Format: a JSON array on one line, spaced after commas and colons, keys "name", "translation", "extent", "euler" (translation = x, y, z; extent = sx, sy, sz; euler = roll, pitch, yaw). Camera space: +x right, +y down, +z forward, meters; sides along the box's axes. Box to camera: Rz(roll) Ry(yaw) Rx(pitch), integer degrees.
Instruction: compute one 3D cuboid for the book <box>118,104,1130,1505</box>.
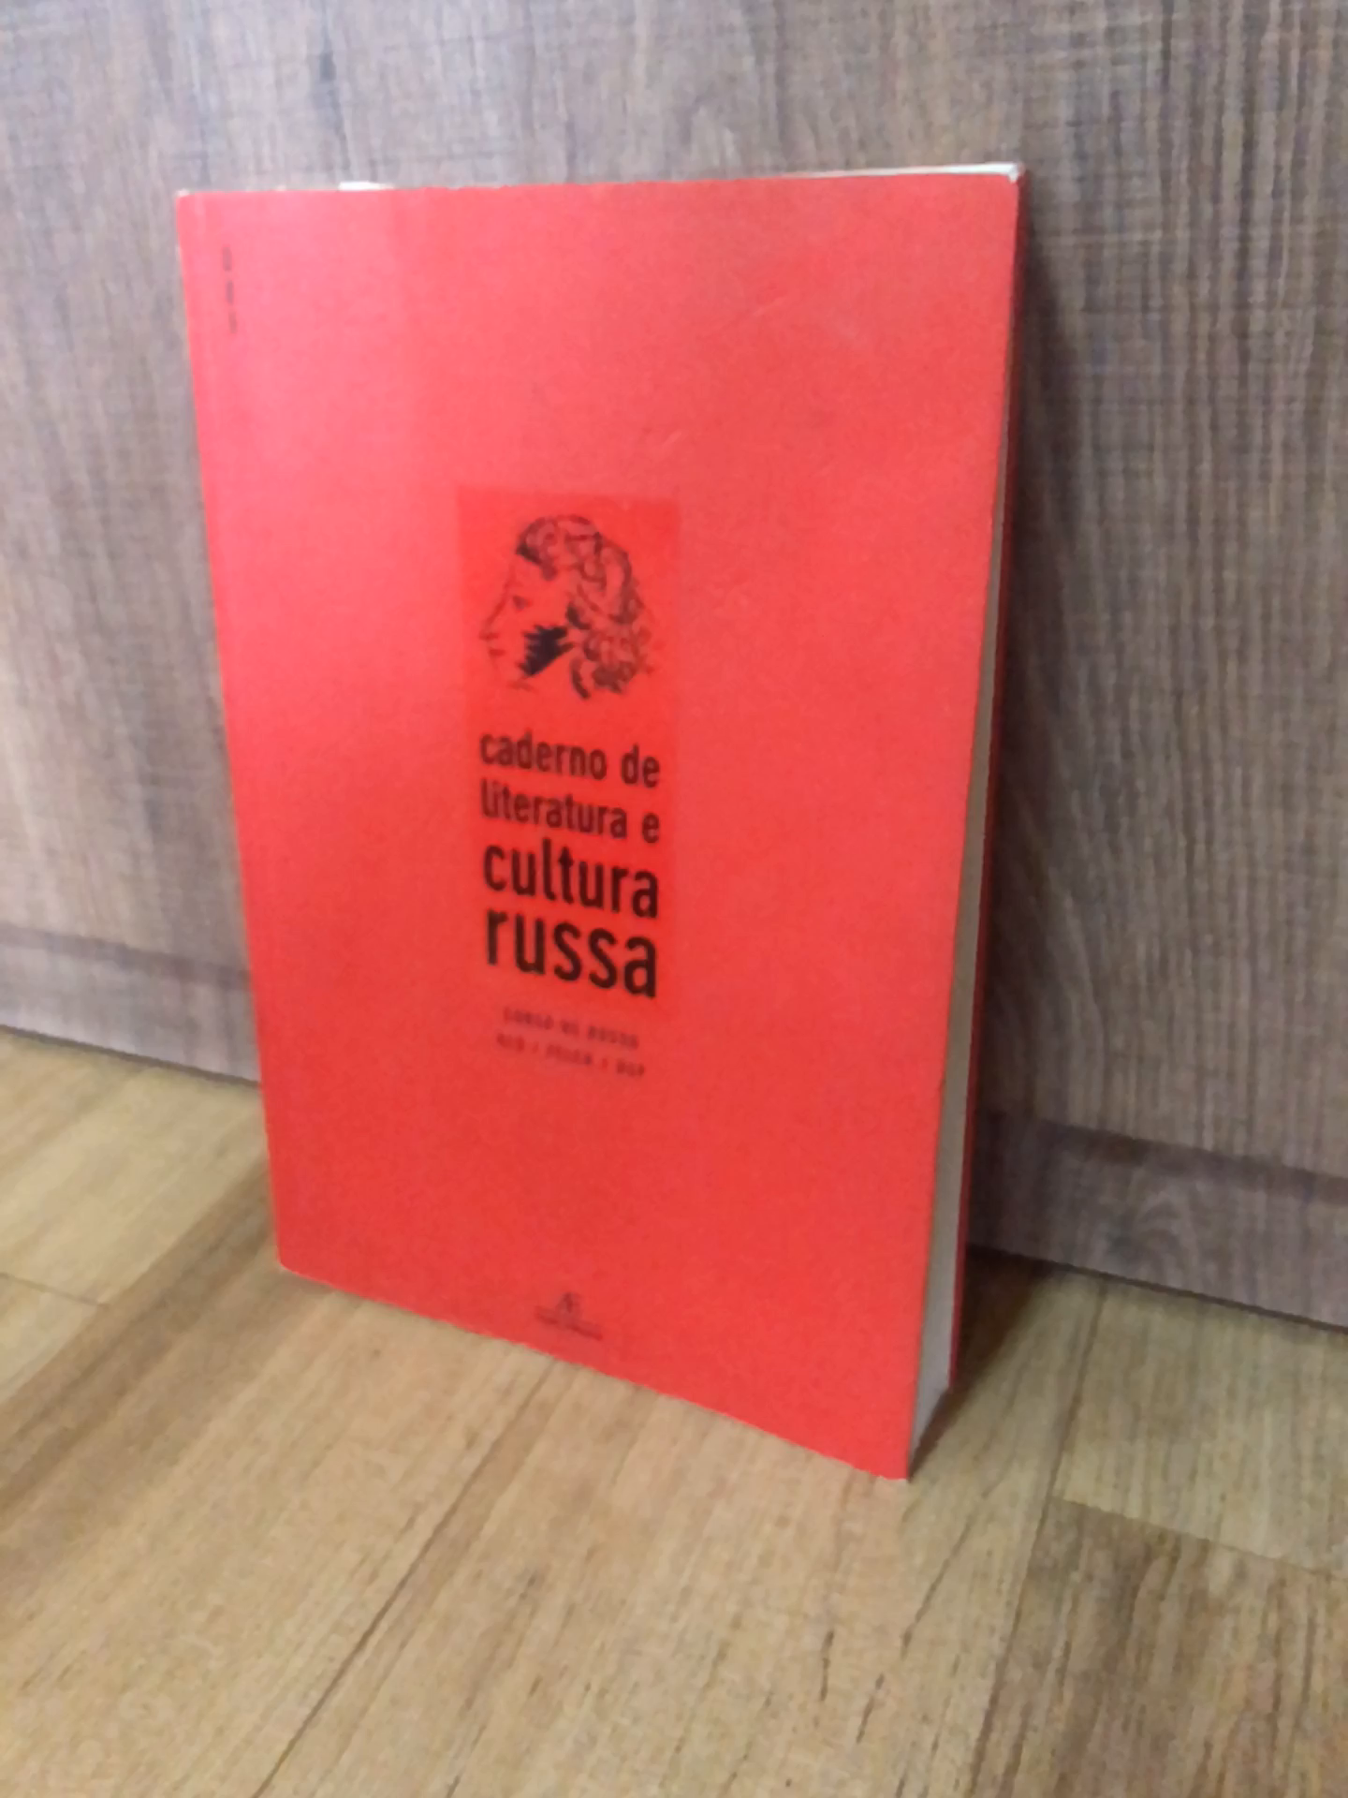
[{"name": "book", "translation": [-0.017, -0.018, 0.315], "extent": [0.187, 0.249, 0.040], "euler": [10, 22, 26]}]
